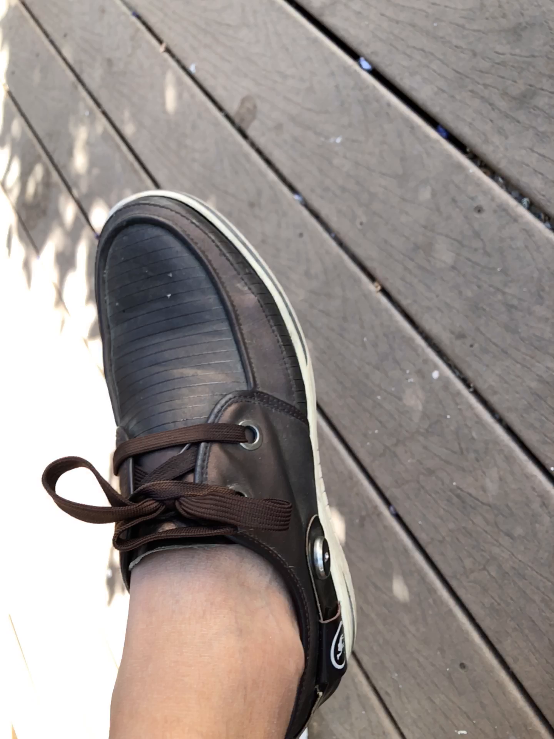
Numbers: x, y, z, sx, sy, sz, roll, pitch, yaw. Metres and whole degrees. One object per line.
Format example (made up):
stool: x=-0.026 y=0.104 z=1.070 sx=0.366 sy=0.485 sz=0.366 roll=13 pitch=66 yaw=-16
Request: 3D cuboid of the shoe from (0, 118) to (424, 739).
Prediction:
shoe: x=-0.029 y=0.049 z=0.321 sx=0.119 sy=0.104 sz=0.295 roll=-16 pitch=90 yaw=22
